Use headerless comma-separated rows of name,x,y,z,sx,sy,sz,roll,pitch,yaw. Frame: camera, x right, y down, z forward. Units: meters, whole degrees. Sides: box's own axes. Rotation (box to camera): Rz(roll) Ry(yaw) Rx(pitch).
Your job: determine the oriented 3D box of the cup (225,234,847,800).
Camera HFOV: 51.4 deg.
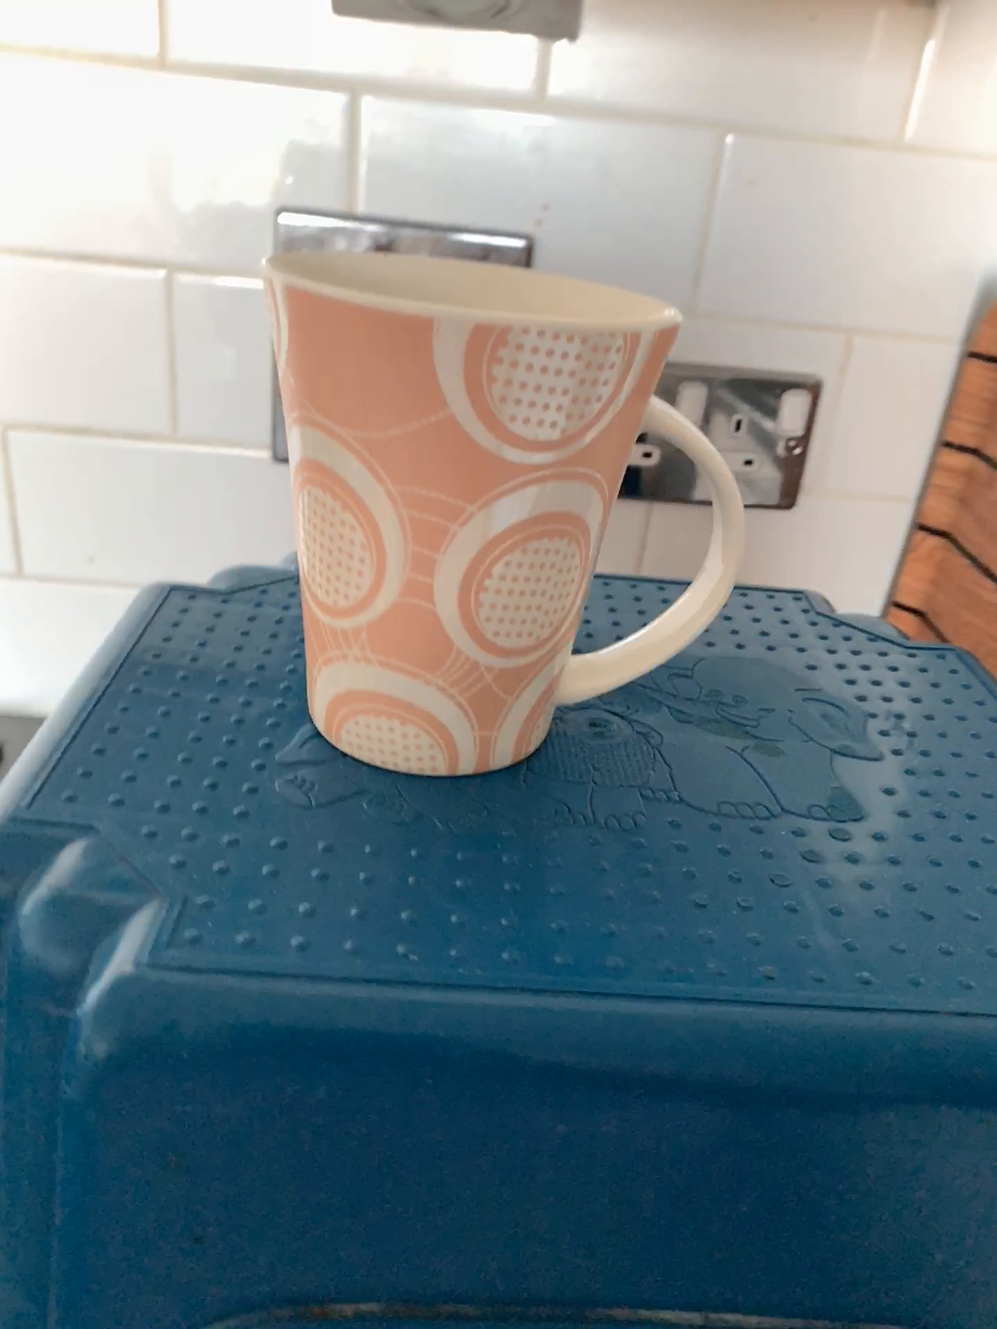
cup,0.001,-0.037,0.249,0.116,0.105,0.078,4,27,-5
